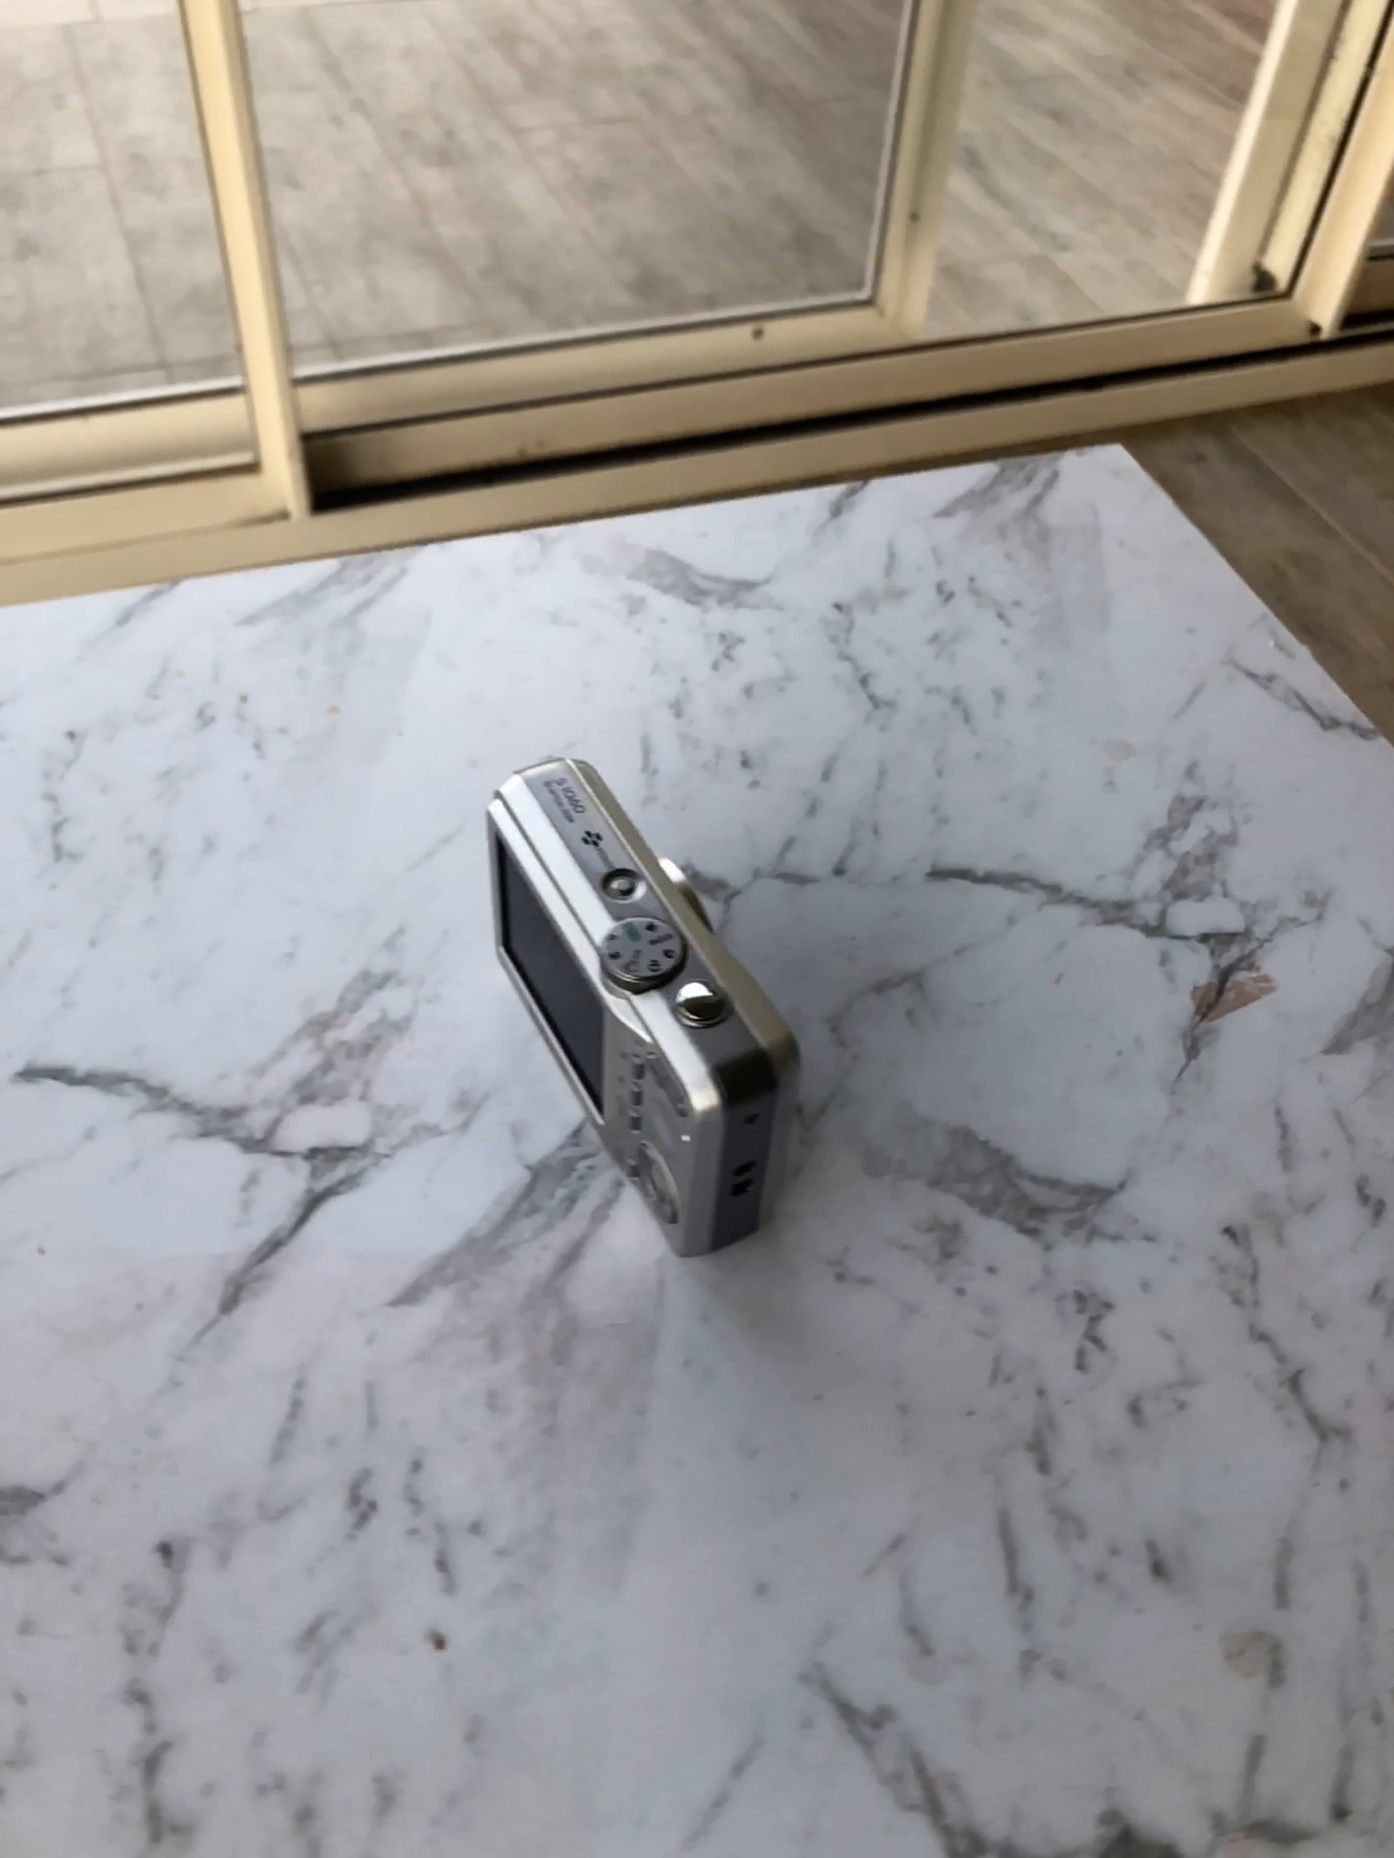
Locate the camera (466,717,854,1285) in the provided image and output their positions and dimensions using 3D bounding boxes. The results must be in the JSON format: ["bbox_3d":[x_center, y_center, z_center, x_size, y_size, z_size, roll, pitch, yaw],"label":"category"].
[{"bbox_3d":[-0.012,0.013,0.326,0.034,0.061,0.099,-20,54,-20],"label":"camera"}]
